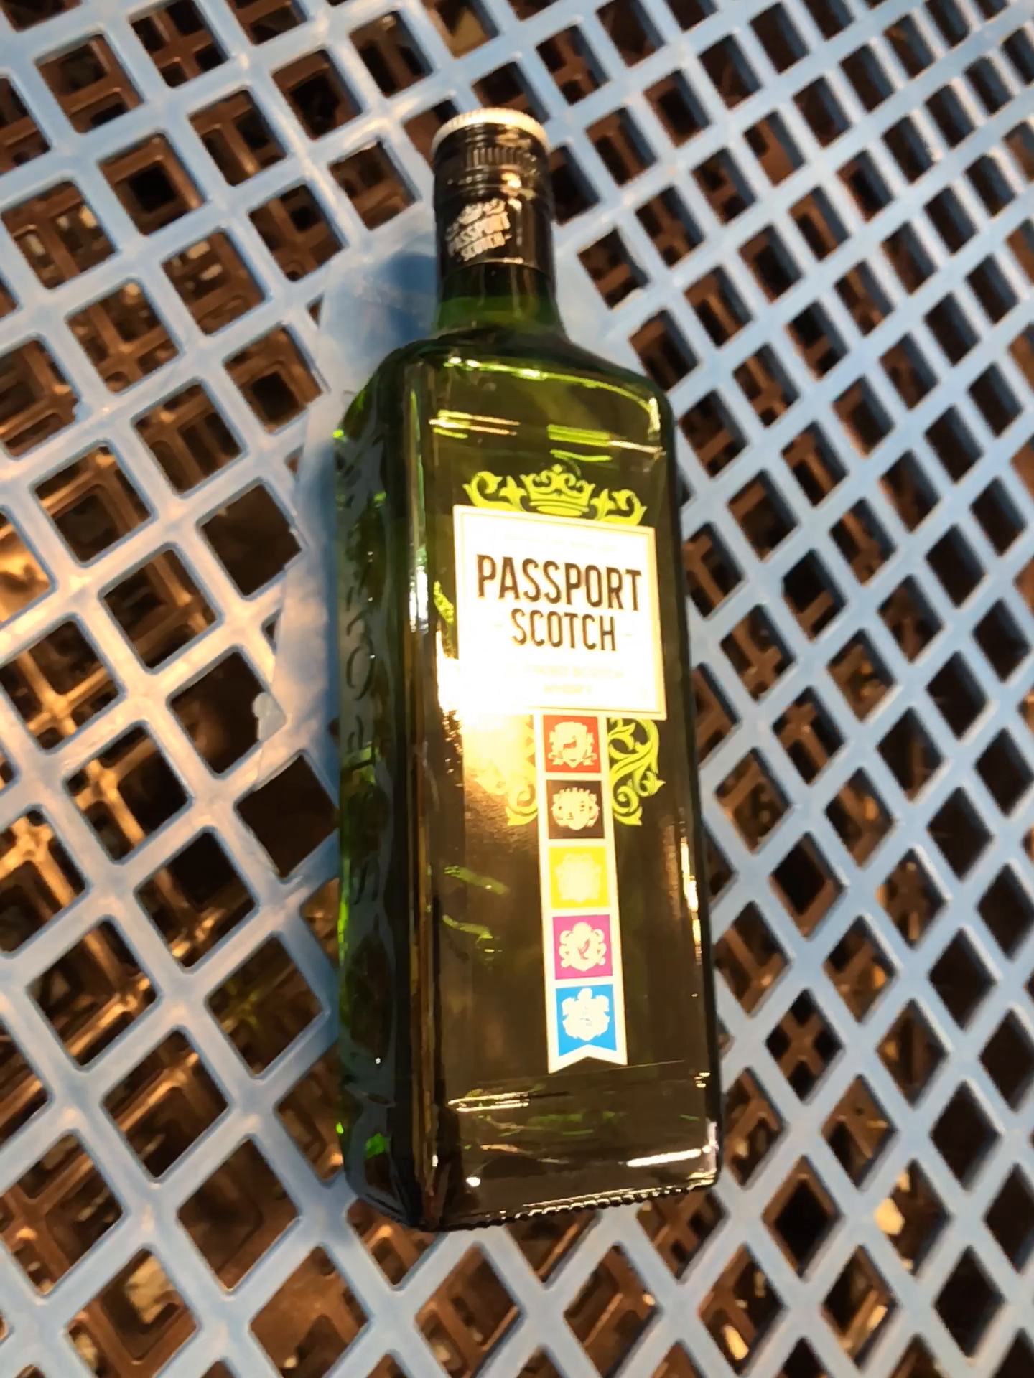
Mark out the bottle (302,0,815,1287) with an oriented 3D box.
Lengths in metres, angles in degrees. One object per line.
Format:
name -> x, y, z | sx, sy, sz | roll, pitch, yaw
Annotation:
bottle -> 0.000, -0.029, 0.269 | 0.080, 0.070, 0.280 | 1, 78, -23
